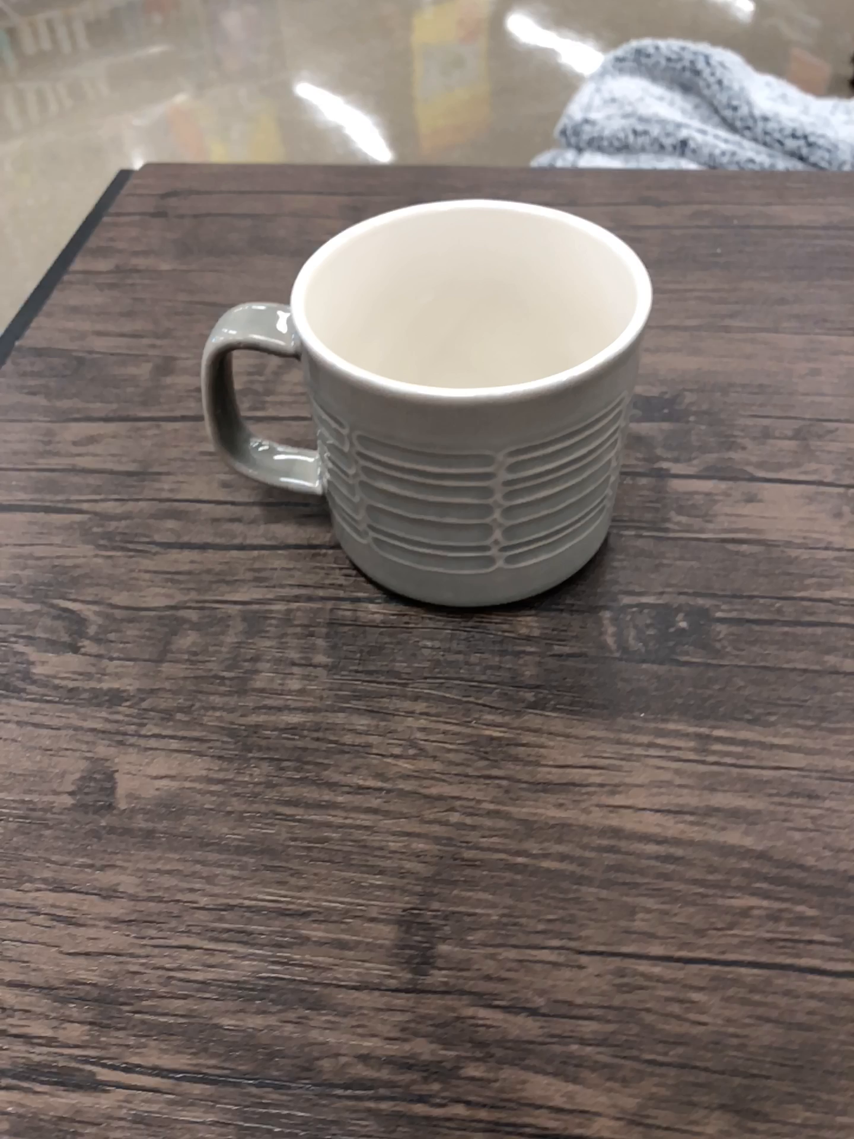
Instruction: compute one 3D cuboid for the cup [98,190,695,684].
[{"bbox_3d":[0.000,-0.044,0.290,0.140,0.090,0.100,9,48,11],"label":"cup"}]
